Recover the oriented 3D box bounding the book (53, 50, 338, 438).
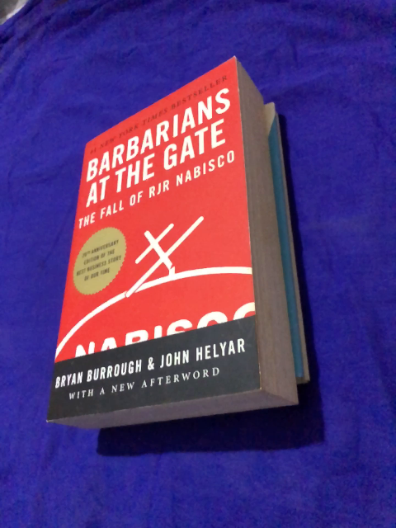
[{"bbox_3d":[-0.006,-0.011,0.275,0.140,0.050,0.210,-17,57,29],"label":"book"}]
